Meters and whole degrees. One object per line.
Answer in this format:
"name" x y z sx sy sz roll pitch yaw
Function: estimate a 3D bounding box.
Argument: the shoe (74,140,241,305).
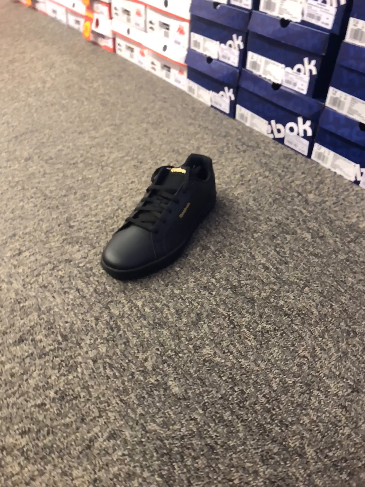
"shoe" -0.023 -0.045 0.600 0.098 0.089 0.262 25 49 25
